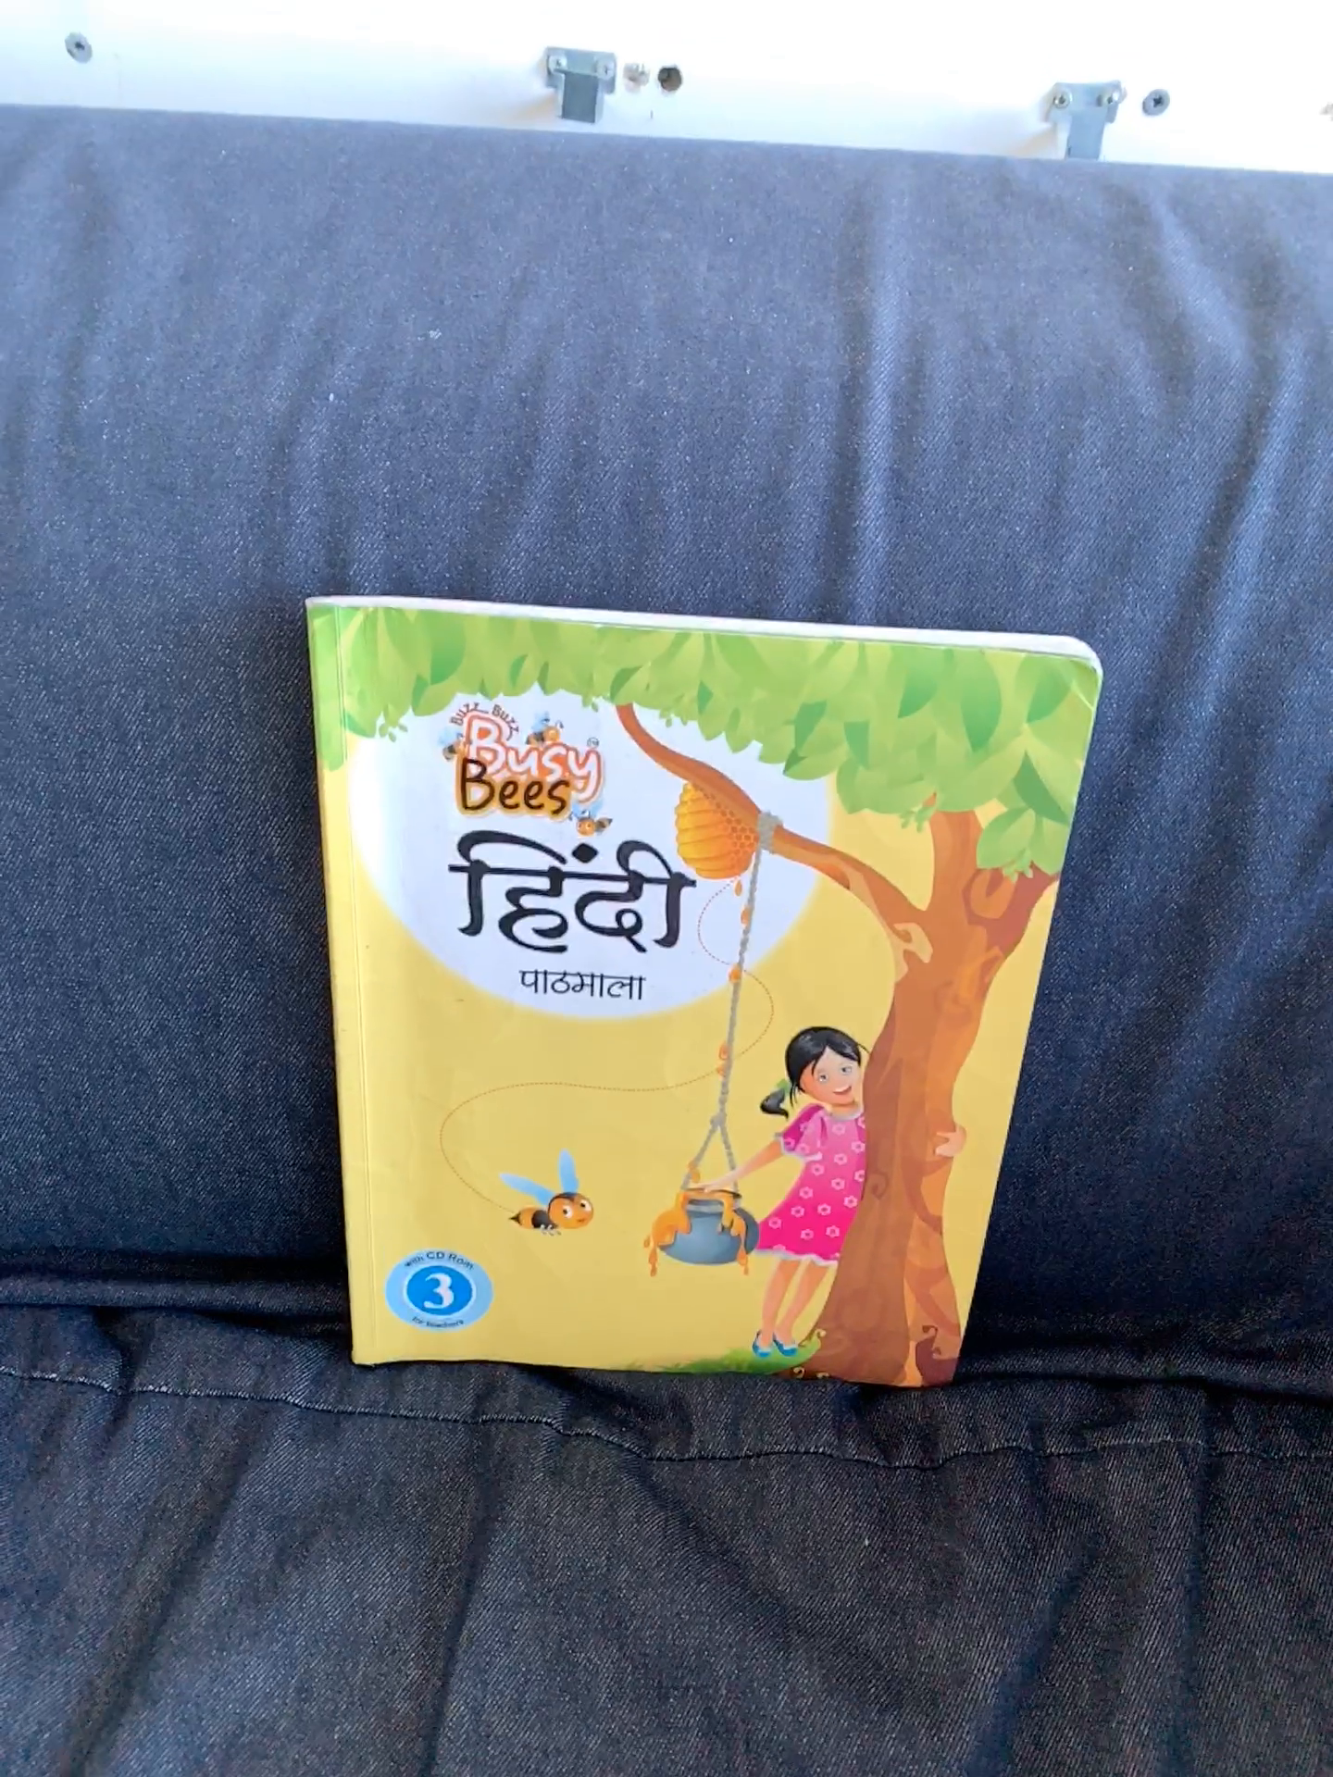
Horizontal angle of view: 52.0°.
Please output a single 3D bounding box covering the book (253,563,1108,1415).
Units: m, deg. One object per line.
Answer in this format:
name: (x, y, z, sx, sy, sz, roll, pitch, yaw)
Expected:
book: (-0.004, 0.048, 0.442, 0.230, 0.284, 0.029, 4, 26, 1)
